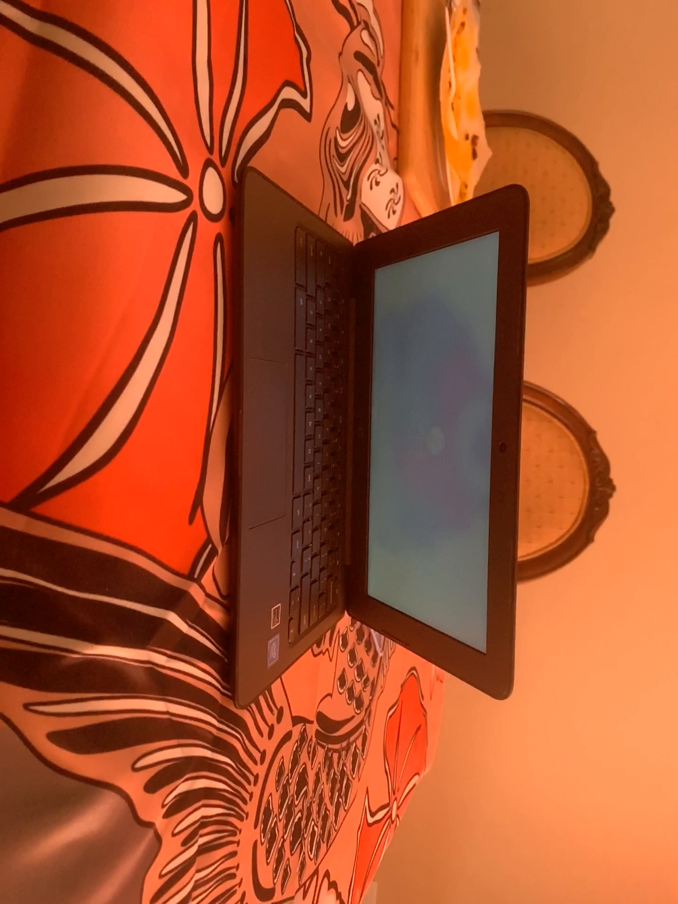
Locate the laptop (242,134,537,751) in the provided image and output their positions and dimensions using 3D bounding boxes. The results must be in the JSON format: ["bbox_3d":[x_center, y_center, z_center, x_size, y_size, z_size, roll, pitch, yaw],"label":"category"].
[{"bbox_3d":[0.048,-0.007,0.460,0.212,0.144,0.299,-12,103,-73],"label":"laptop"}]
